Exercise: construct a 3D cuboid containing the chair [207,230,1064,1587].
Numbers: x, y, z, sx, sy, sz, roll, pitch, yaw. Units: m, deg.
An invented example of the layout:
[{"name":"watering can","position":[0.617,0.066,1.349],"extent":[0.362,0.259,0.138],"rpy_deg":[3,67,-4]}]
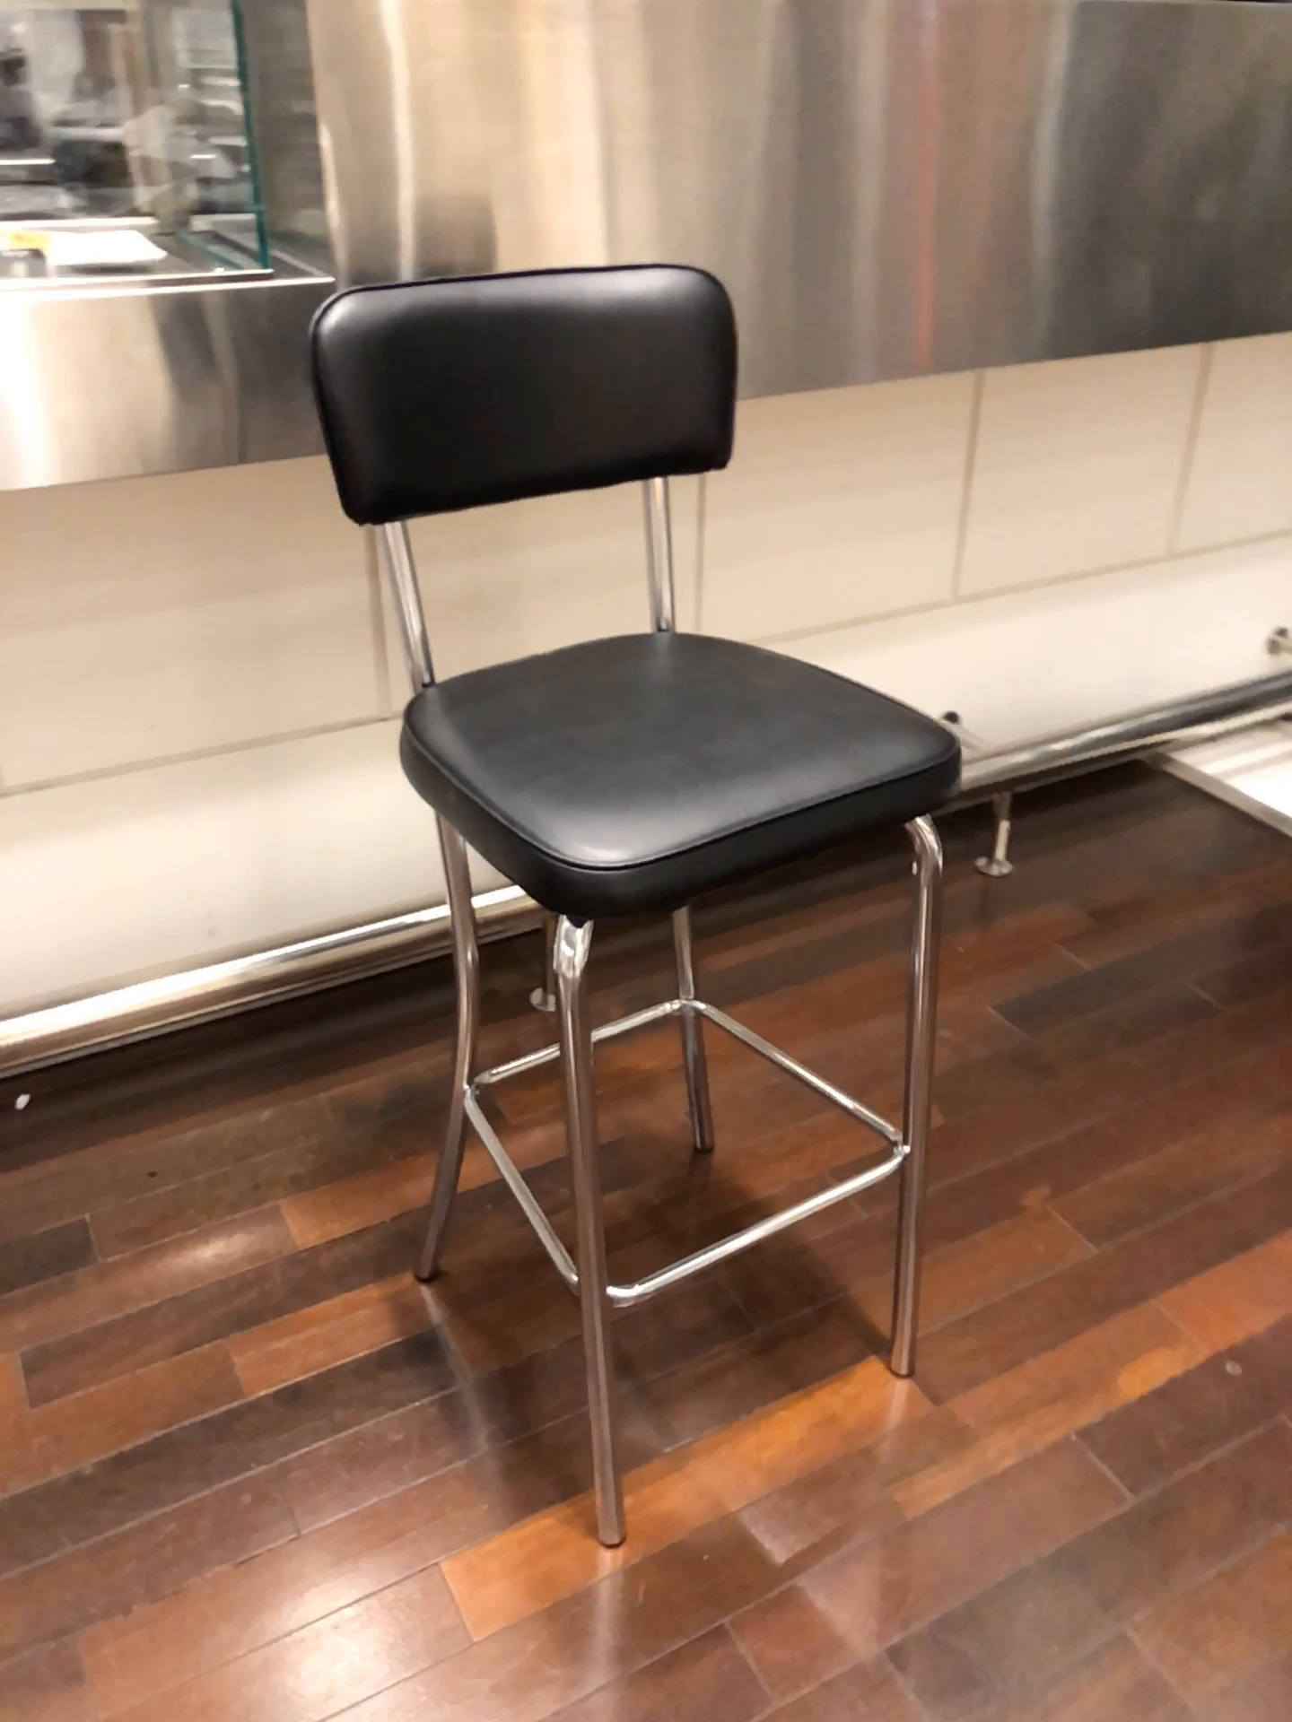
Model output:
[{"name":"chair","position":[-0.032,0.029,1.254],"extent":[0.421,1.012,0.473],"rpy_deg":[-17,34,-29]}]
